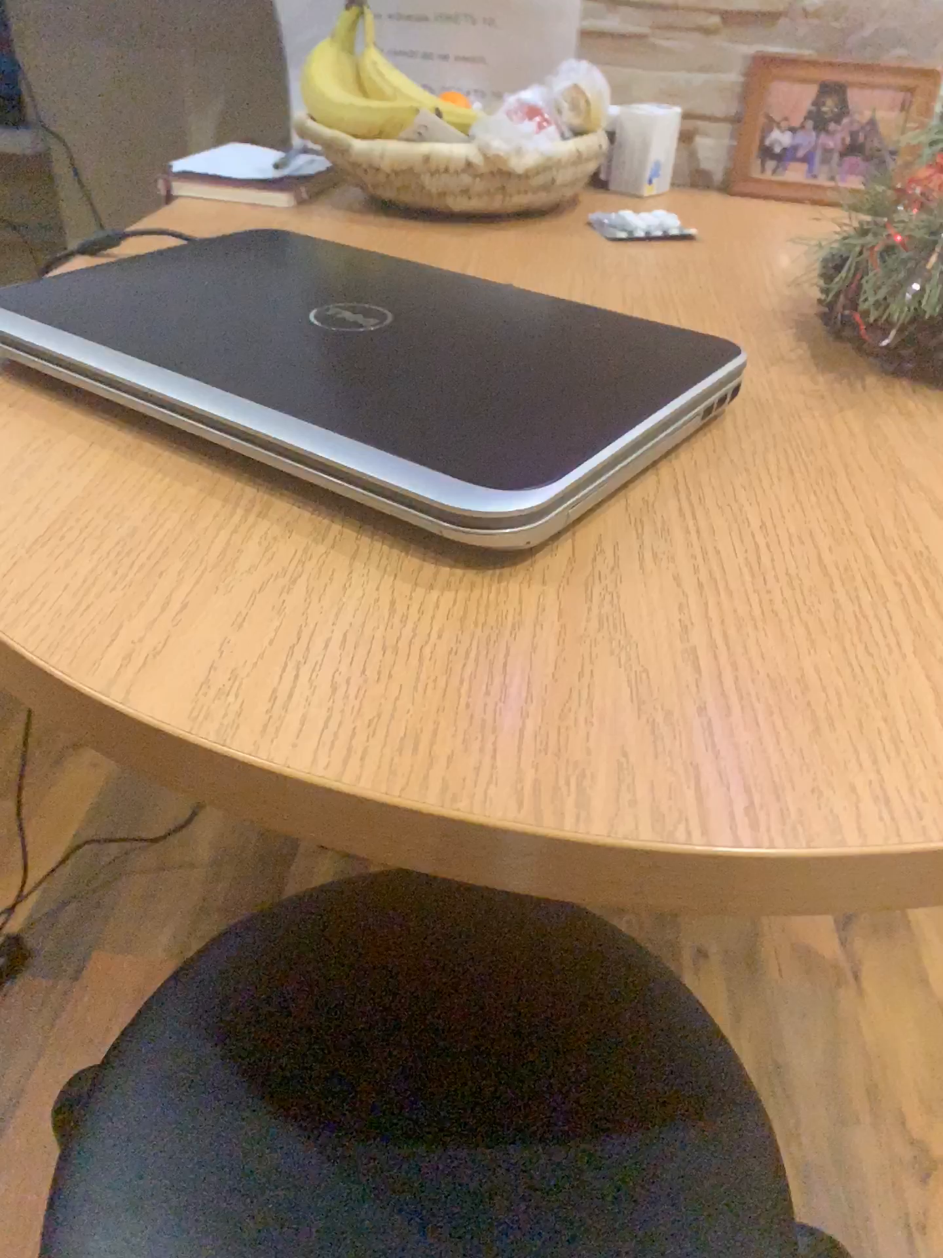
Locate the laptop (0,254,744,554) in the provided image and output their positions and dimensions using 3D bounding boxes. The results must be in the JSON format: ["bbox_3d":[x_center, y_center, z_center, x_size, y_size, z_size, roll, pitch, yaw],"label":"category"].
[{"bbox_3d":[-0.061,-0.147,0.531,0.349,0.004,0.226,25,43,30],"label":"laptop"}]
